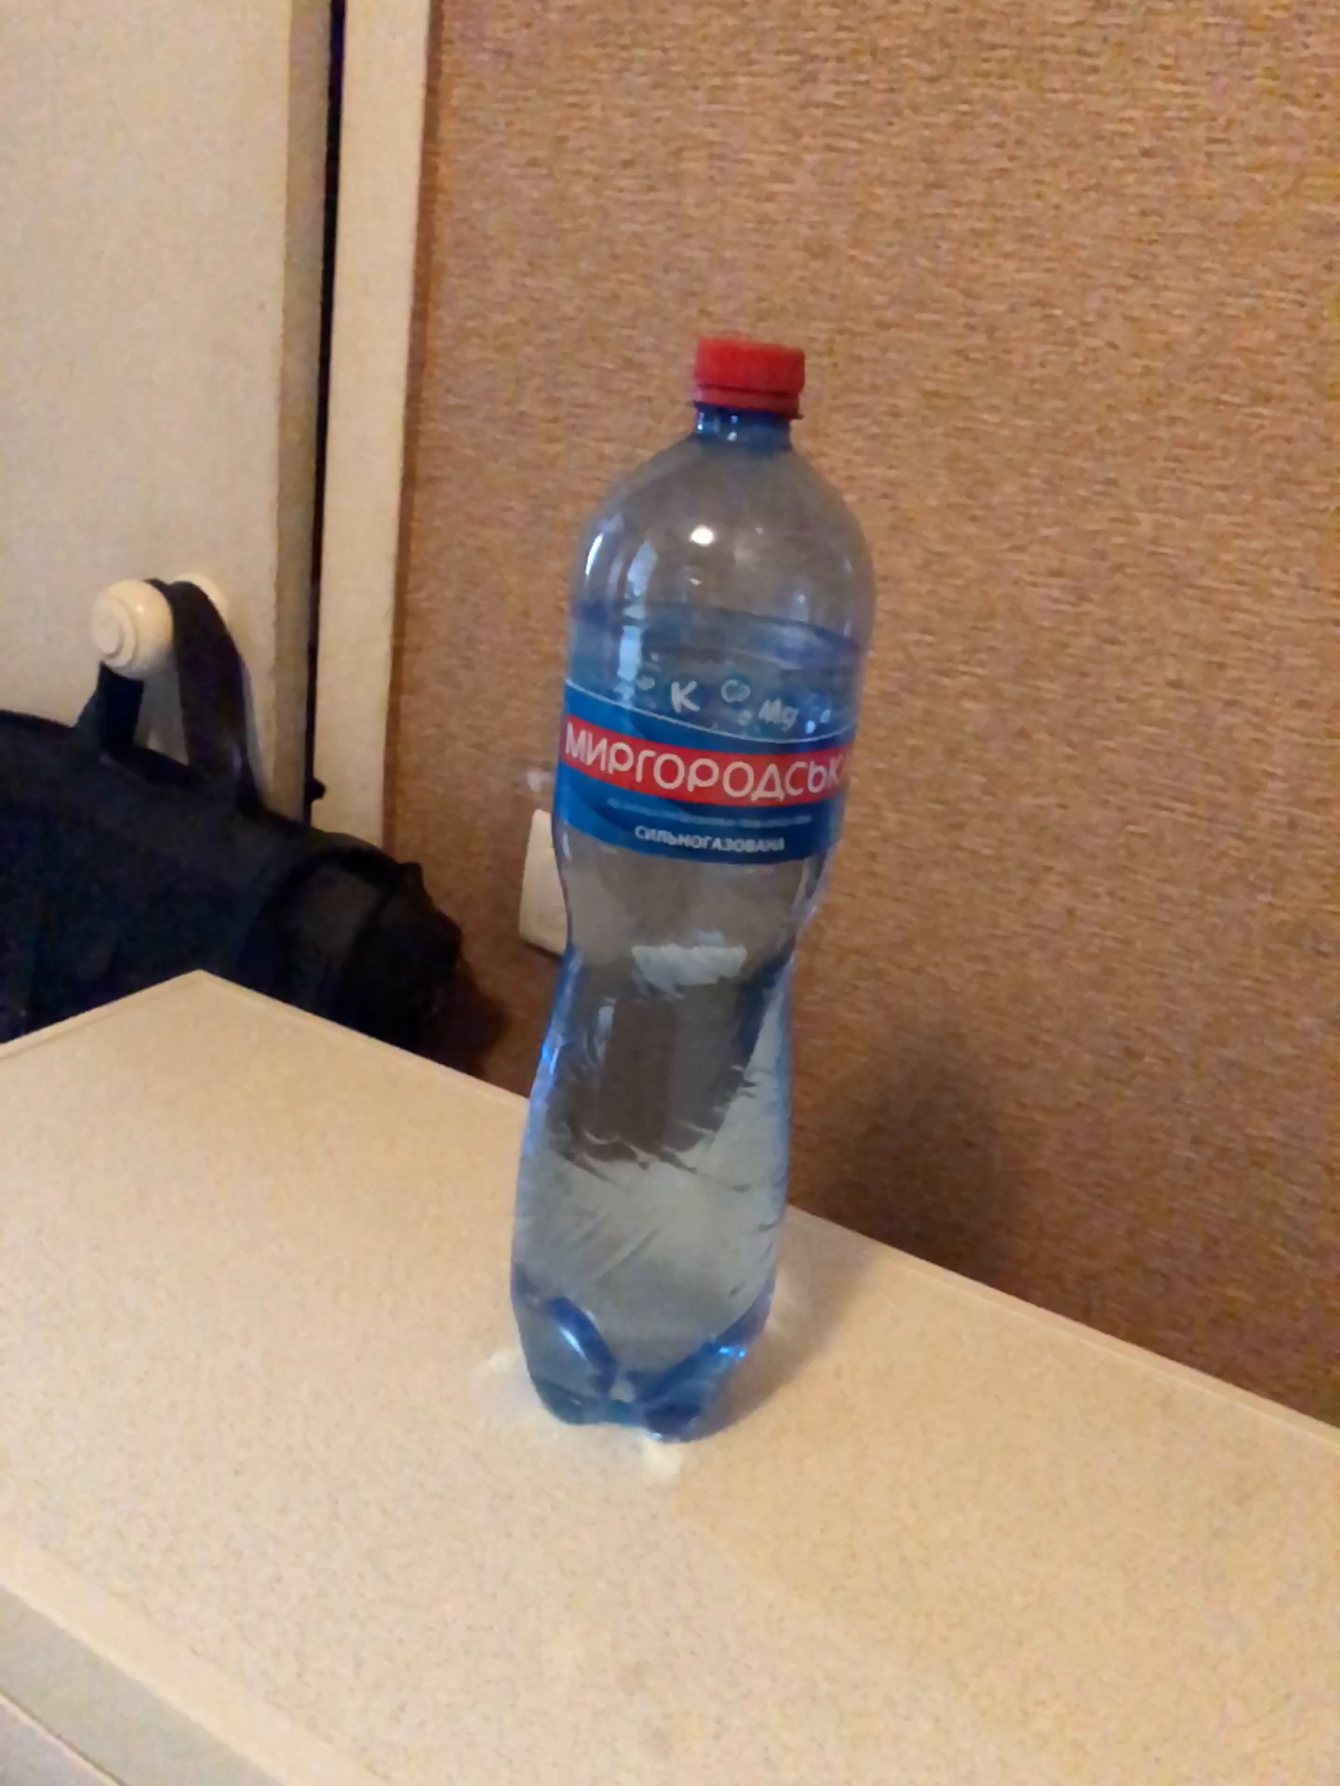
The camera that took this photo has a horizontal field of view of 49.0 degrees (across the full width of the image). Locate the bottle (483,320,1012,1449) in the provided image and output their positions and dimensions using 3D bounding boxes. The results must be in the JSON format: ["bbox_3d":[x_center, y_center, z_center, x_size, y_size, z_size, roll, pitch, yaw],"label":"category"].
[{"bbox_3d":[0.011,0.002,0.448,0.100,0.318,0.101,7,20,-2],"label":"bottle"}]
